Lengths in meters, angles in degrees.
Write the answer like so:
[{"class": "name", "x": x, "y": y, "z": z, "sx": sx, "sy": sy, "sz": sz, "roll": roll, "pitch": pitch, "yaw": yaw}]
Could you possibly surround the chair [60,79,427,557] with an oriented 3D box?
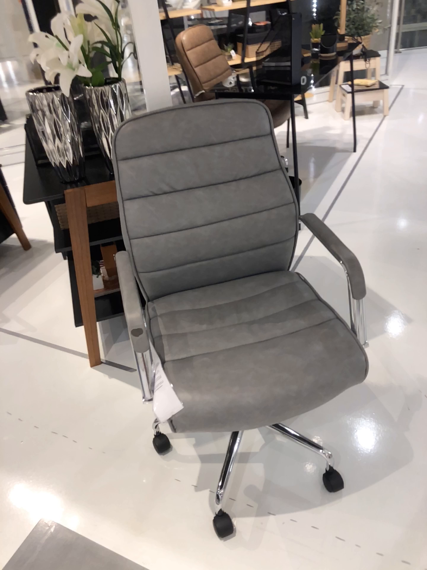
[{"class": "chair", "x": 0.062, "y": 0.094, "z": 1.209, "sx": 0.600, "sy": 0.992, "sz": 0.554, "roll": -12, "pitch": 35, "yaw": -7}]
